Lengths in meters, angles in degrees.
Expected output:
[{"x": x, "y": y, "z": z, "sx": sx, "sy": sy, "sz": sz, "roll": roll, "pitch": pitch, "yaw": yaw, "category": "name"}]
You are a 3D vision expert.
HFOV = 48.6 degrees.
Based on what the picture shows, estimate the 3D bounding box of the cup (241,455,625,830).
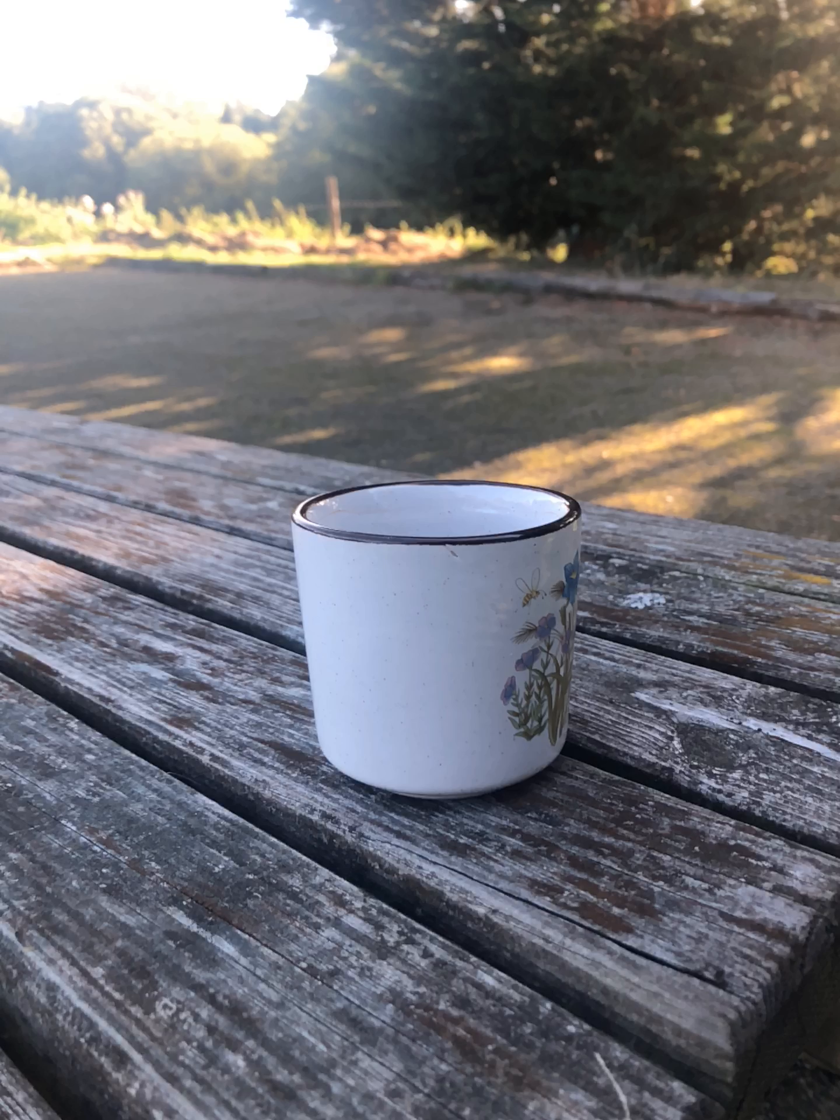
[{"x": 0.013, "y": 0.016, "z": 0.300, "sx": 0.086, "sy": 0.078, "sz": 0.109, "roll": 3, "pitch": 18, "yaw": 22, "category": "cup"}]
